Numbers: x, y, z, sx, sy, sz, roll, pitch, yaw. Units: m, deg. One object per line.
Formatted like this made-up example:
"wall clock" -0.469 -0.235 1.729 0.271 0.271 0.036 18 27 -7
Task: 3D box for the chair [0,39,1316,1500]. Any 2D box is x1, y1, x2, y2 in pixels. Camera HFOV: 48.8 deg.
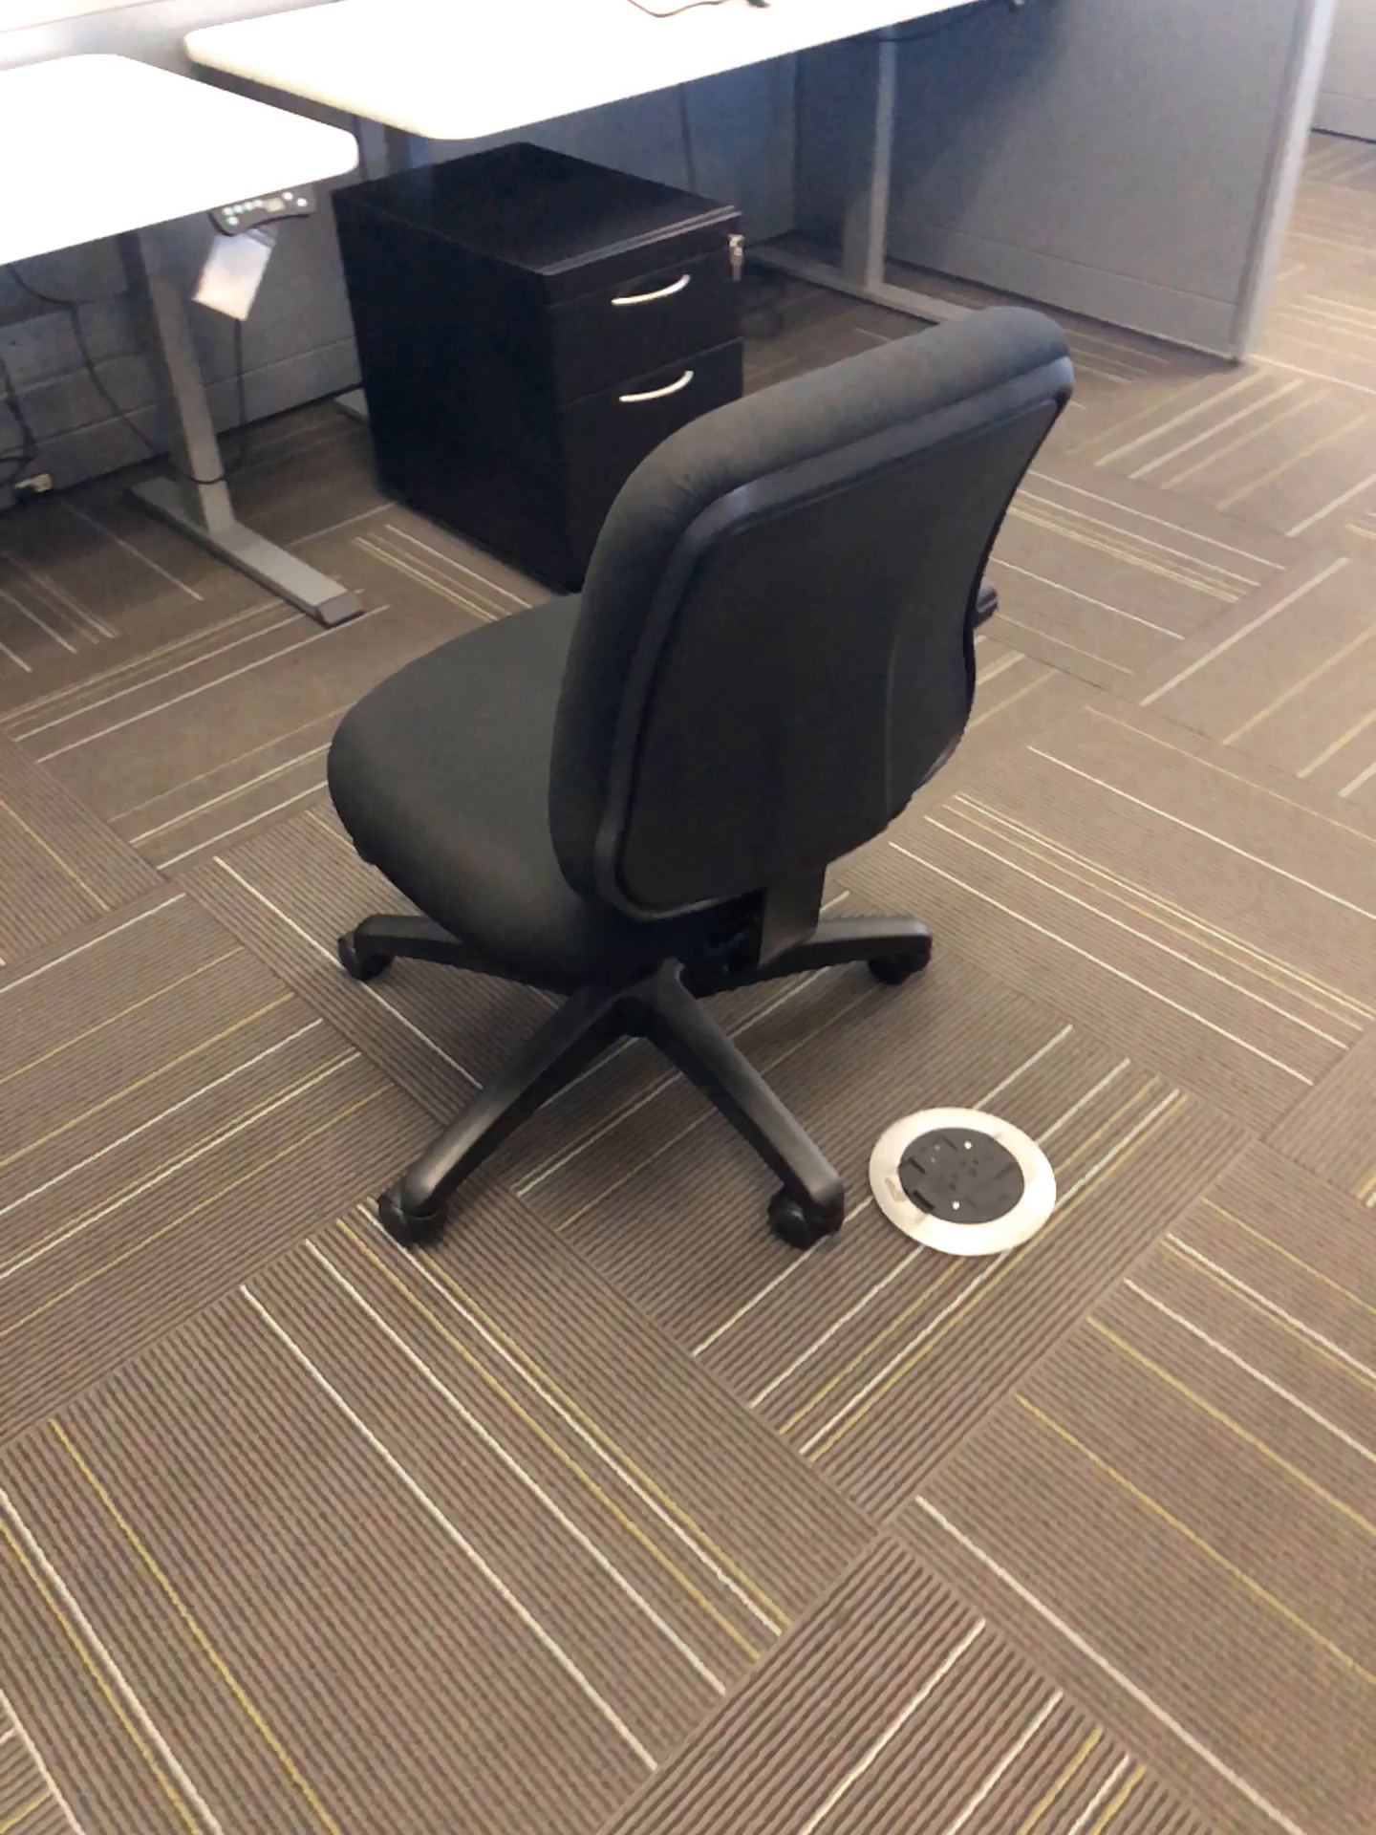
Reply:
"chair" -0.080 -0.198 1.379 0.771 0.846 0.763 -33 50 -31
